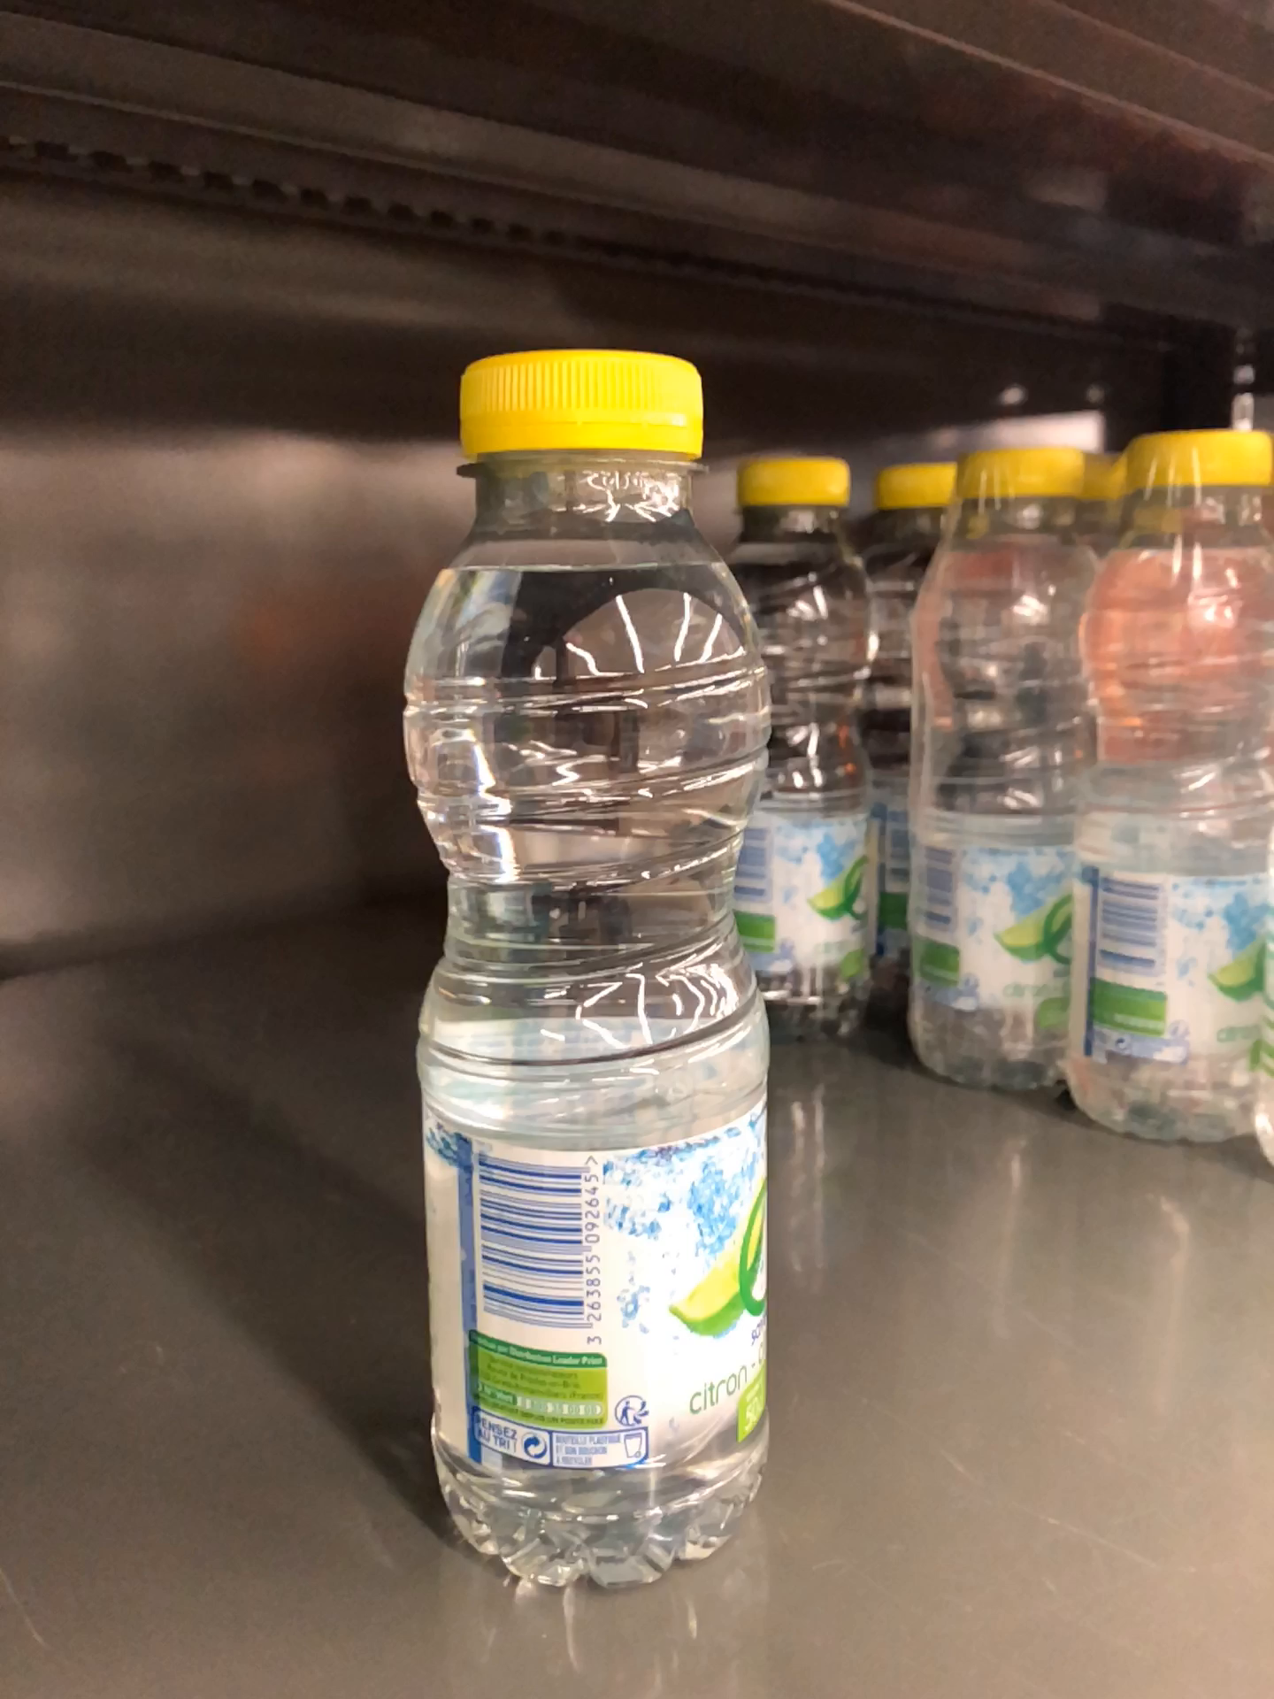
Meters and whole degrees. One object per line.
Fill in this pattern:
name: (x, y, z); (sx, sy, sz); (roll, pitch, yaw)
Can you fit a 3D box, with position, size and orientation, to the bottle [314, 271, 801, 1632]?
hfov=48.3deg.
bottle: (-0.007, 0.017, 0.254); (0.060, 0.209, 0.070); (1, 10, 15)
